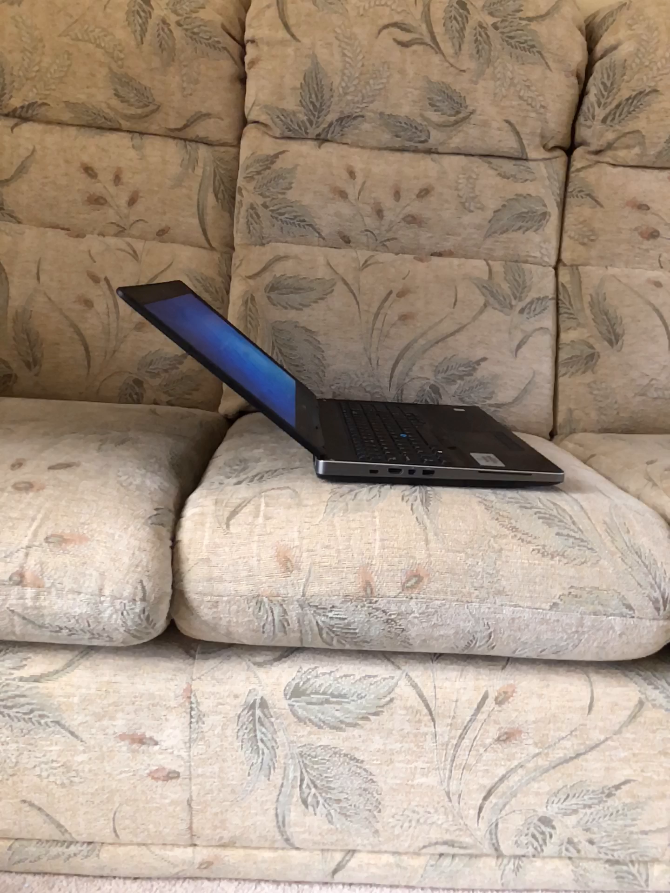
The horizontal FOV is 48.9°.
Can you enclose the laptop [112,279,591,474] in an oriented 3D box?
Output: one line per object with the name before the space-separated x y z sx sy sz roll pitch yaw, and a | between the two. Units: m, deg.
laptop | 0.005 -0.103 0.894 0.451 0.157 0.356 3 16 -3
